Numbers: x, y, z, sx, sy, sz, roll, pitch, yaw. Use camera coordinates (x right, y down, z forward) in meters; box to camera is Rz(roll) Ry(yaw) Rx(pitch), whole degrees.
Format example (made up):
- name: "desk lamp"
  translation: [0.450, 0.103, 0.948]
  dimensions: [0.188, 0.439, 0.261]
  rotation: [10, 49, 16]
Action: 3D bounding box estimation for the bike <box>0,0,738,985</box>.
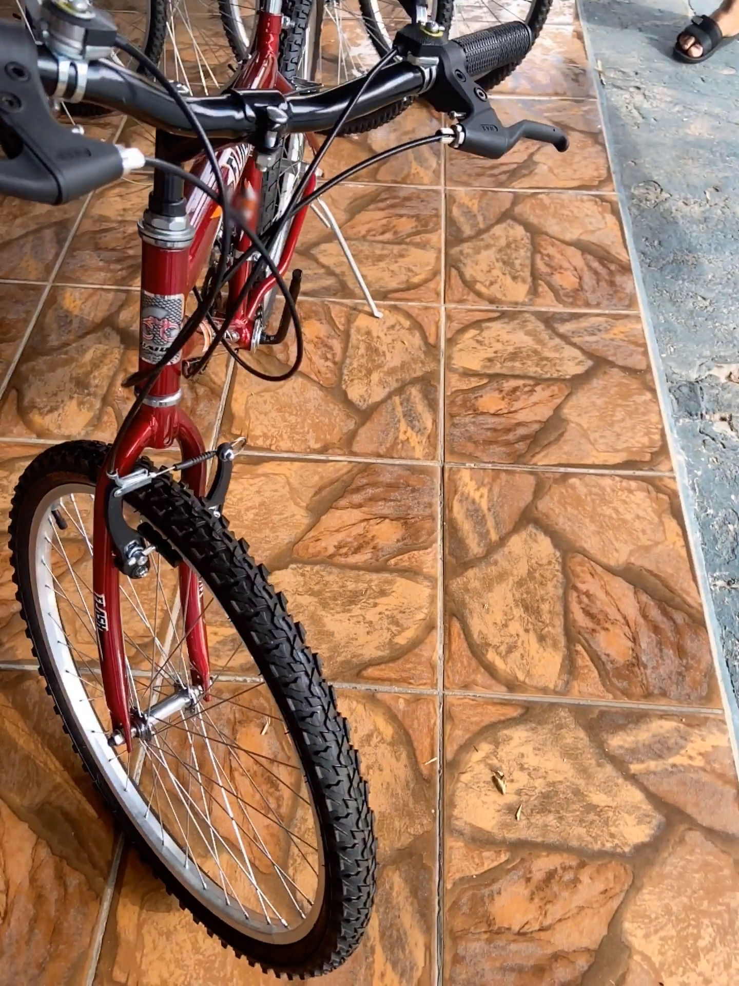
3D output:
- name: "bike"
  translation: [-0.027, -0.298, 1.036]
  dimensions: [0.598, 0.986, 1.563]
  rotation: [-3, 57, -1]
